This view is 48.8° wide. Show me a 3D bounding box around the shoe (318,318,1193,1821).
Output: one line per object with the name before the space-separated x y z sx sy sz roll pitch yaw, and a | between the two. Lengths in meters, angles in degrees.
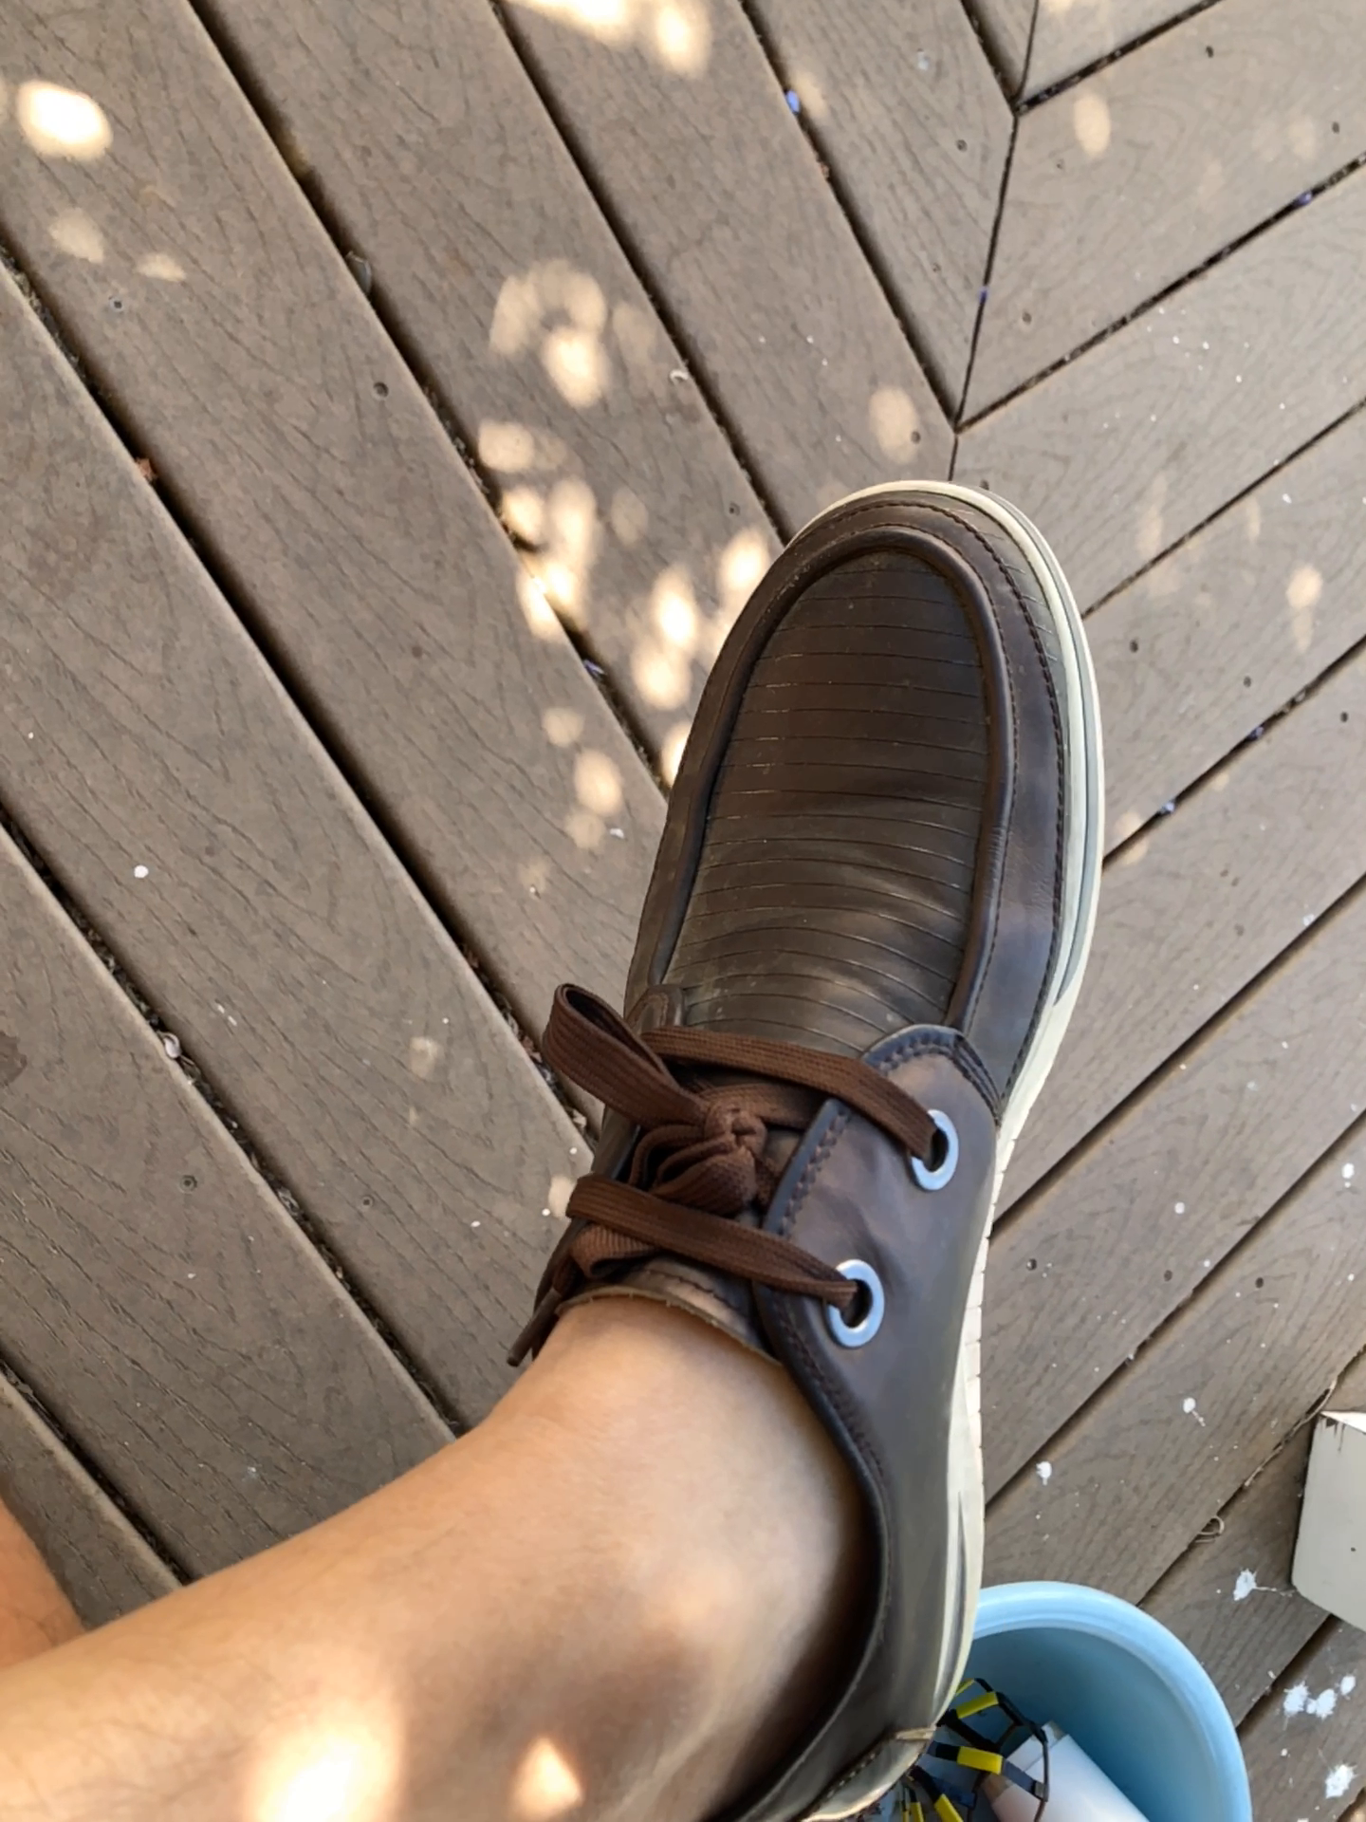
shoe | 0.024 0.039 0.301 0.102 0.097 0.274 15 85 -65
